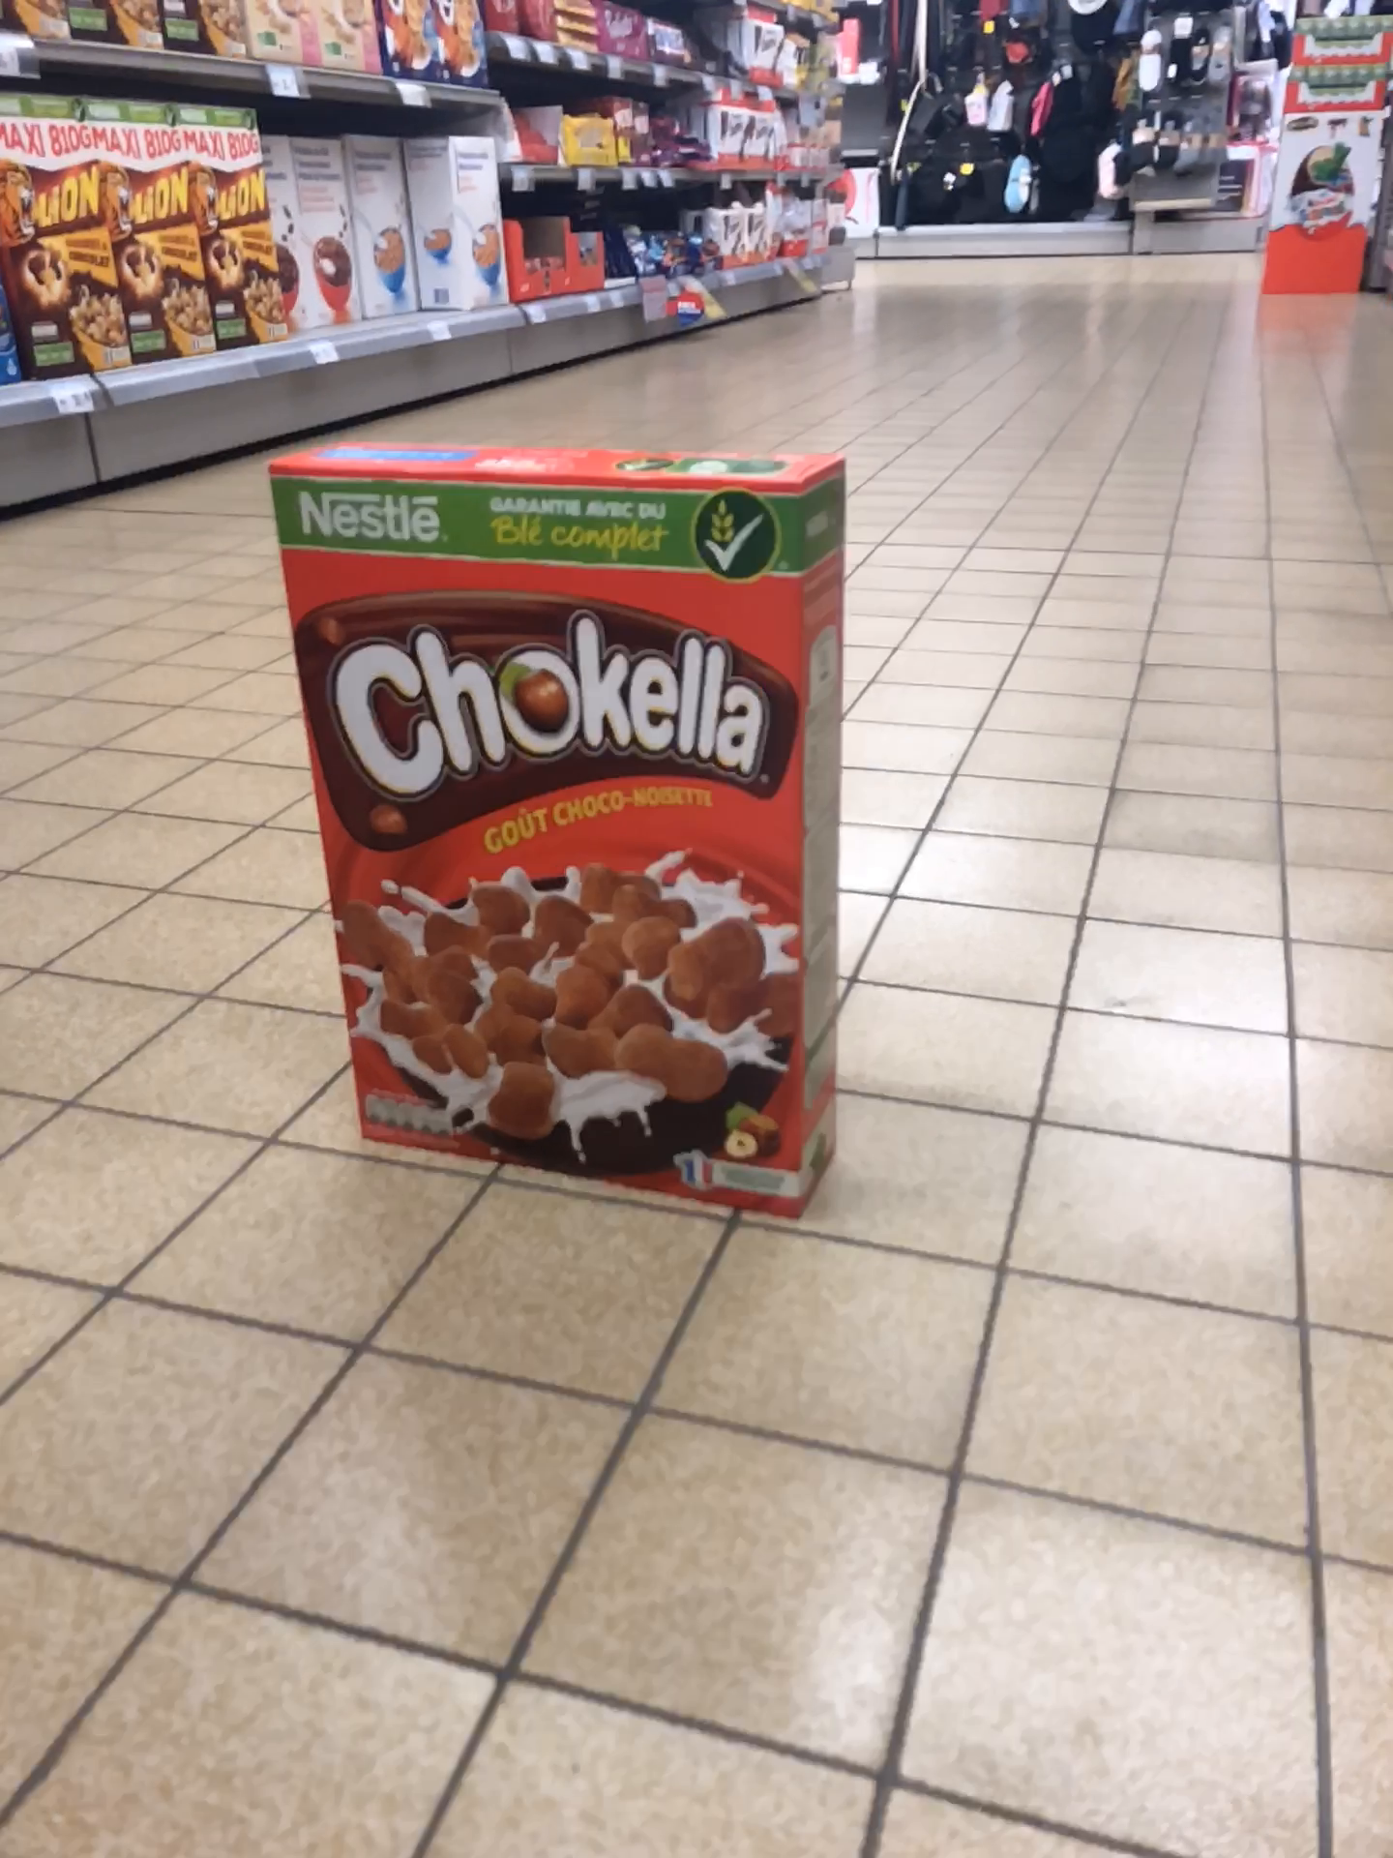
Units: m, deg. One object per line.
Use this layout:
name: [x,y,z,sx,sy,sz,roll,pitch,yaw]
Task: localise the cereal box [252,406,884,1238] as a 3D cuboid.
cereal box: [-0.041,-0.039,0.551,0.200,0.278,0.060,8,26,20]
